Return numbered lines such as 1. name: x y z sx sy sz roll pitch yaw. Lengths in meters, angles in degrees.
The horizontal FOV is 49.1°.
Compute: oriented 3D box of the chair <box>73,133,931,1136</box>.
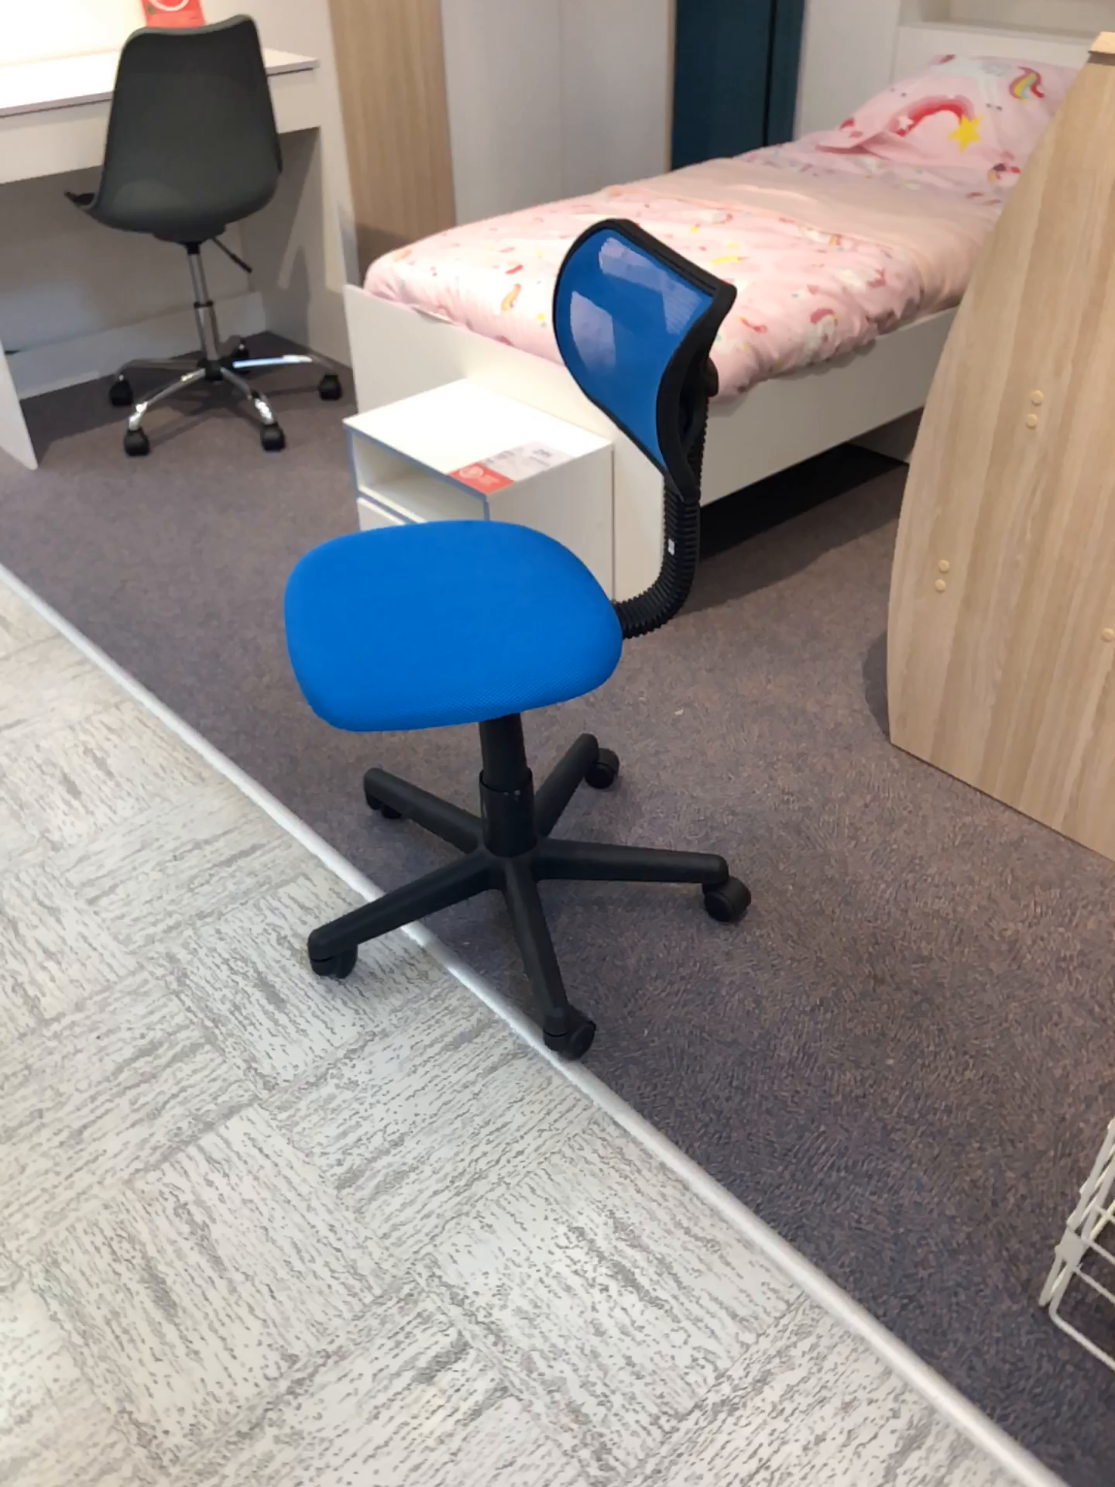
1. chair: -0.096 -0.166 1.382 0.611 0.795 0.663 -15 39 -18
